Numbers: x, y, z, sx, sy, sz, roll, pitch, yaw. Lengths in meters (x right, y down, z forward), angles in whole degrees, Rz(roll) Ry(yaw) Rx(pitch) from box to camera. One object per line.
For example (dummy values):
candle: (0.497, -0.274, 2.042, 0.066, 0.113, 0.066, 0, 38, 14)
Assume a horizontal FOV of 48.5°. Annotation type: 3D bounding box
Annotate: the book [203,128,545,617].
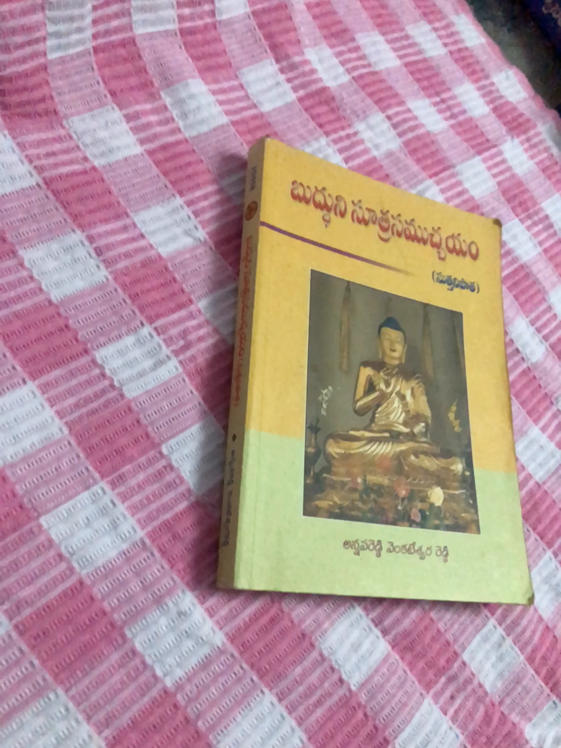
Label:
book: (0.047, 0.001, 0.297, 0.151, 0.030, 0.210, 12, 66, -25)
